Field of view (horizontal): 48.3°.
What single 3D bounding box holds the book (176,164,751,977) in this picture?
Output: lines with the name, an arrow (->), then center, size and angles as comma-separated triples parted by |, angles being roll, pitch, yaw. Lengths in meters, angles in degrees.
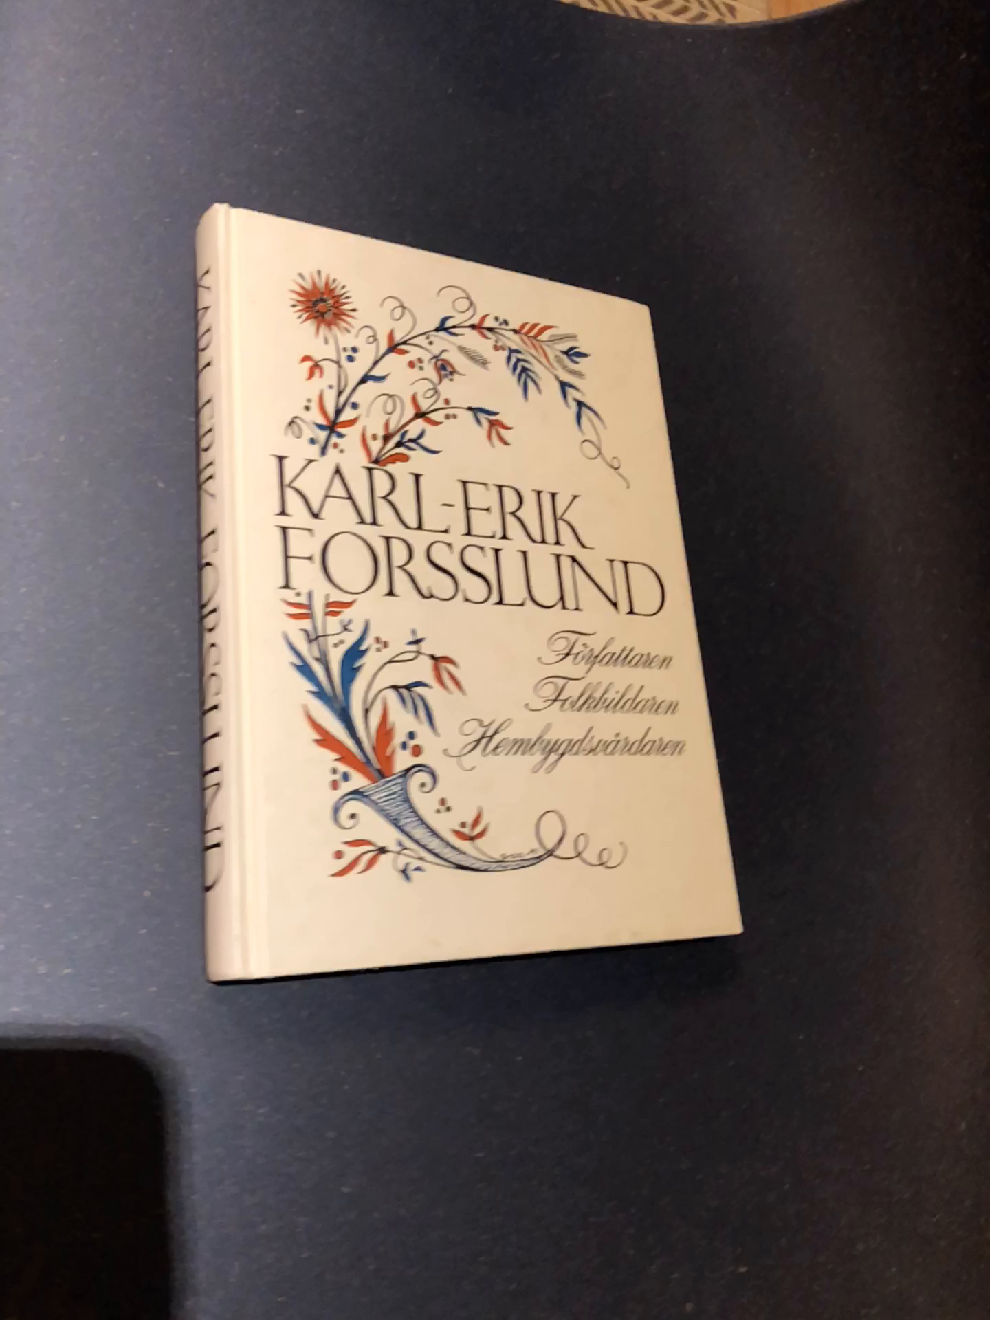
book -> -0.012, -0.029, 0.345 | 0.164, 0.028, 0.232 | 3, 72, -27
